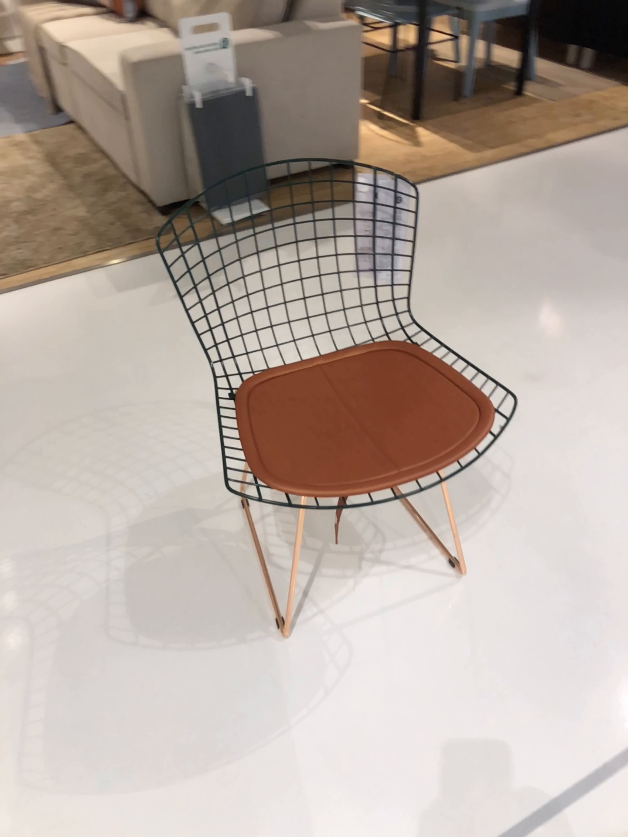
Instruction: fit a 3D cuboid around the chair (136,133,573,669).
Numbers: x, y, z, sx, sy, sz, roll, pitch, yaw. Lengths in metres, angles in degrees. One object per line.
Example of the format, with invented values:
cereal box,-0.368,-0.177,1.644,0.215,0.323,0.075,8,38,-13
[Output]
chair,0.034,-0.034,1.254,0.491,0.724,0.503,-15,42,-14
